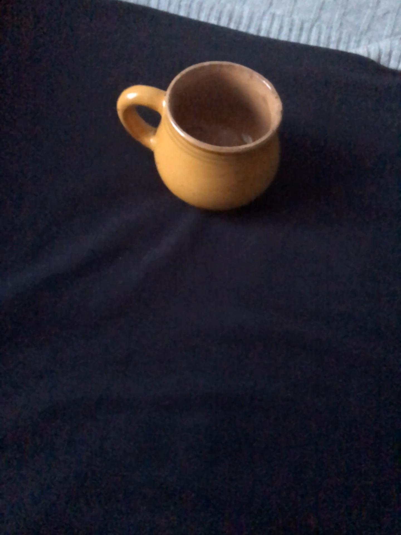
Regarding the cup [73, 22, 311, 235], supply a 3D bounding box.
[{"bbox_3d":[-0.004,-0.090,0.292,0.119,0.058,0.082,22,63,5],"label":"cup"}]
